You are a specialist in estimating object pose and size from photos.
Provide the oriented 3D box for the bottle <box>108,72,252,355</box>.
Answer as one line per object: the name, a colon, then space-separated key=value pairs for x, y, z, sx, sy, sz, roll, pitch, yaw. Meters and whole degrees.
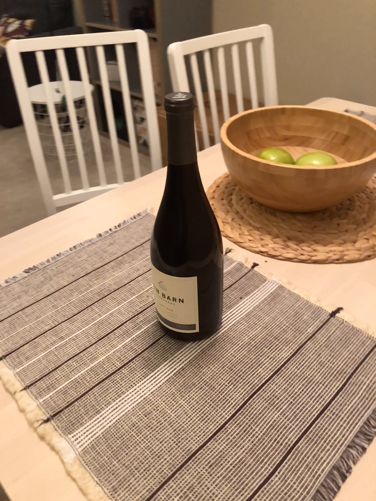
bottle: x=-0.003 y=-0.031 z=0.467 sx=0.090 sy=0.288 sz=0.100 roll=25 pitch=44 yaw=31

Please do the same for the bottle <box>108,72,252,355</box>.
bottle: x=-0.003 y=-0.031 z=0.467 sx=0.090 sy=0.288 sz=0.100 roll=25 pitch=44 yaw=31
